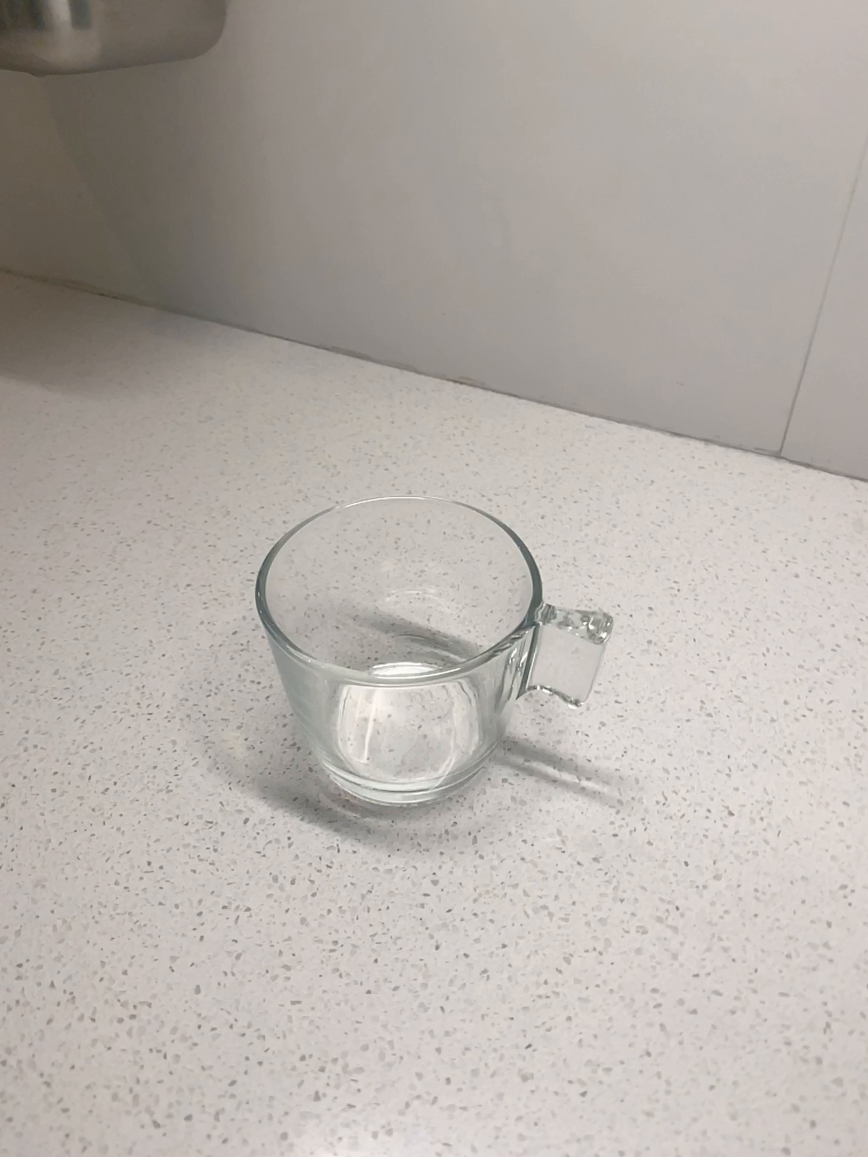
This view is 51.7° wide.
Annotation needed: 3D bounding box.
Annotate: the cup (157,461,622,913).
[{"bbox_3d":[-0.009,0.030,0.291,0.110,0.080,0.090,14,43,17],"label":"cup"}]
